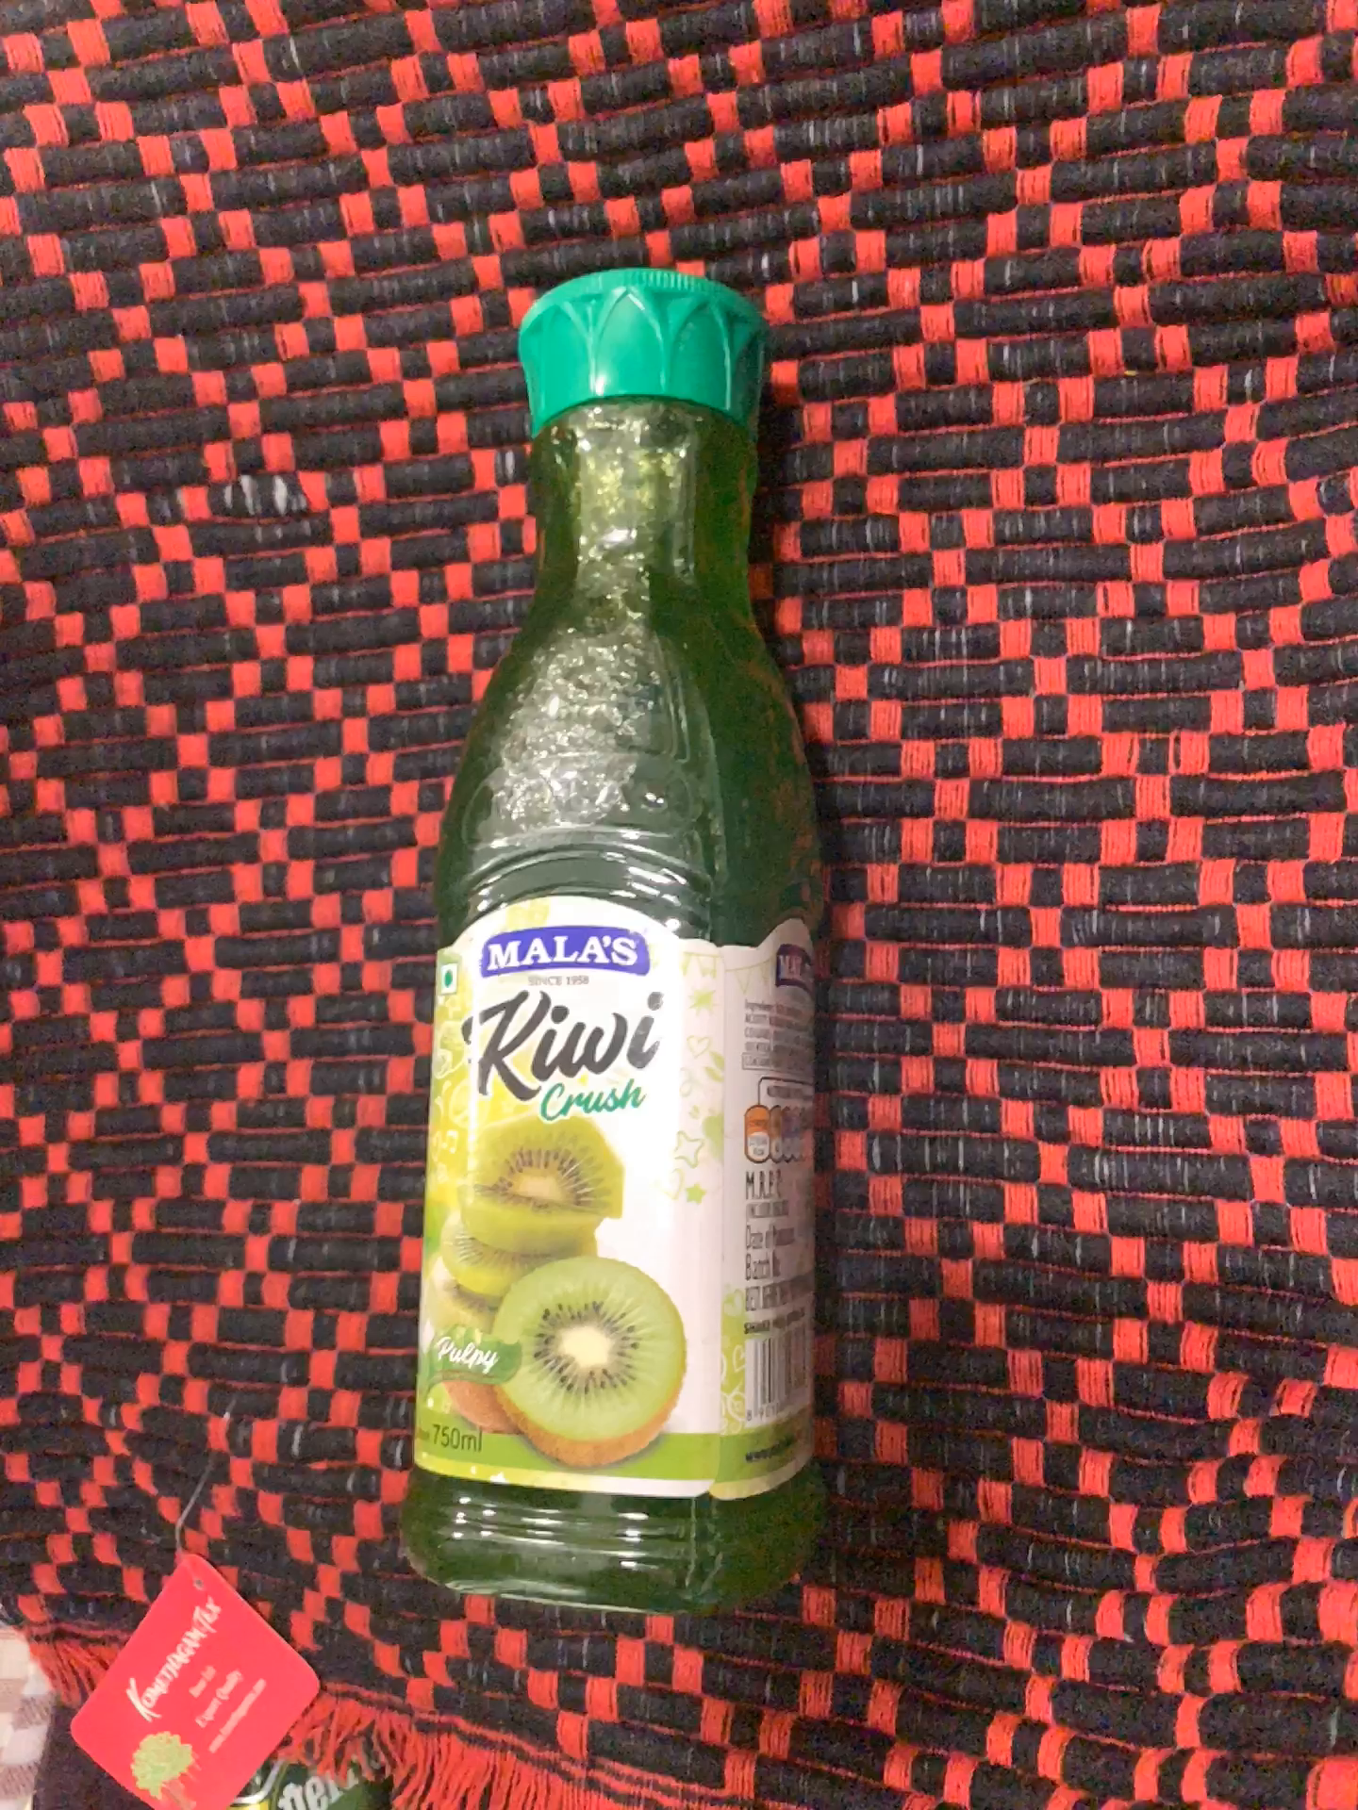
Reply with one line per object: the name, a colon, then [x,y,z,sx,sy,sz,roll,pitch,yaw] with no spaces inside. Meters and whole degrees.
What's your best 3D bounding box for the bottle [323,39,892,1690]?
bottle: [-0.003,-0.013,0.264,0.070,0.080,0.260,-1,78,17]
